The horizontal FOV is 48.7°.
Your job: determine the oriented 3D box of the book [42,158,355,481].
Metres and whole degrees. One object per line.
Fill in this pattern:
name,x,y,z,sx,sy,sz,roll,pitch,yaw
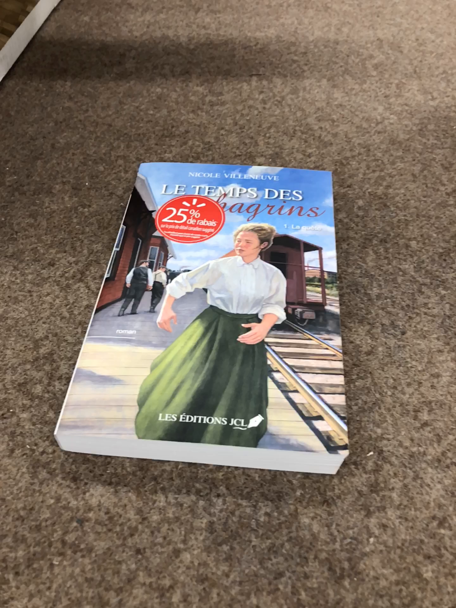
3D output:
book,-0.005,-0.010,0.327,0.155,0.030,0.225,4,53,4
